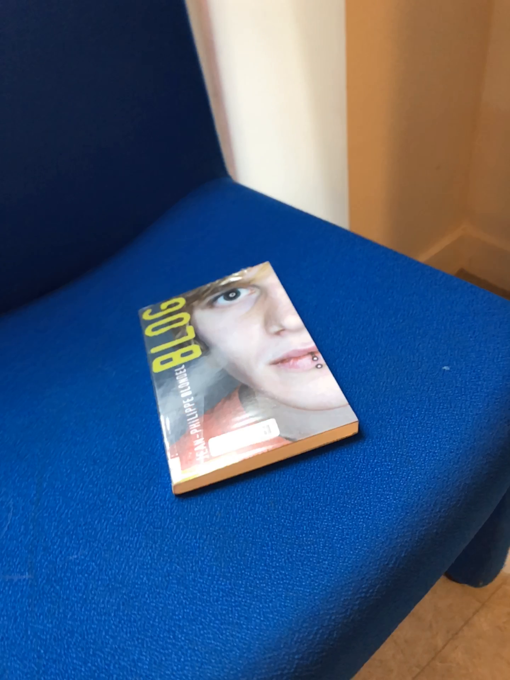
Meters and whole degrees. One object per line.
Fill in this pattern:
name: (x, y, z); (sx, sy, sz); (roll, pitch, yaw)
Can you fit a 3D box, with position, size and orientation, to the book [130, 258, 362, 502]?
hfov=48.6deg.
book: (-0.022, 0.016, 0.473); (0.142, 0.018, 0.221); (-17, 42, -6)
